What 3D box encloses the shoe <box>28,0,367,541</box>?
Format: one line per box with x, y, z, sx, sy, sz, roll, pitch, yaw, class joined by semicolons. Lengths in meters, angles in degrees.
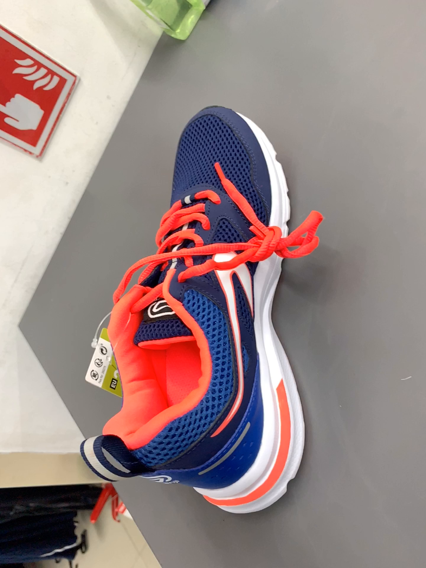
-0.007;-0.015;0.284;0.111;0.139;0.290;-20;61;37;shoe
